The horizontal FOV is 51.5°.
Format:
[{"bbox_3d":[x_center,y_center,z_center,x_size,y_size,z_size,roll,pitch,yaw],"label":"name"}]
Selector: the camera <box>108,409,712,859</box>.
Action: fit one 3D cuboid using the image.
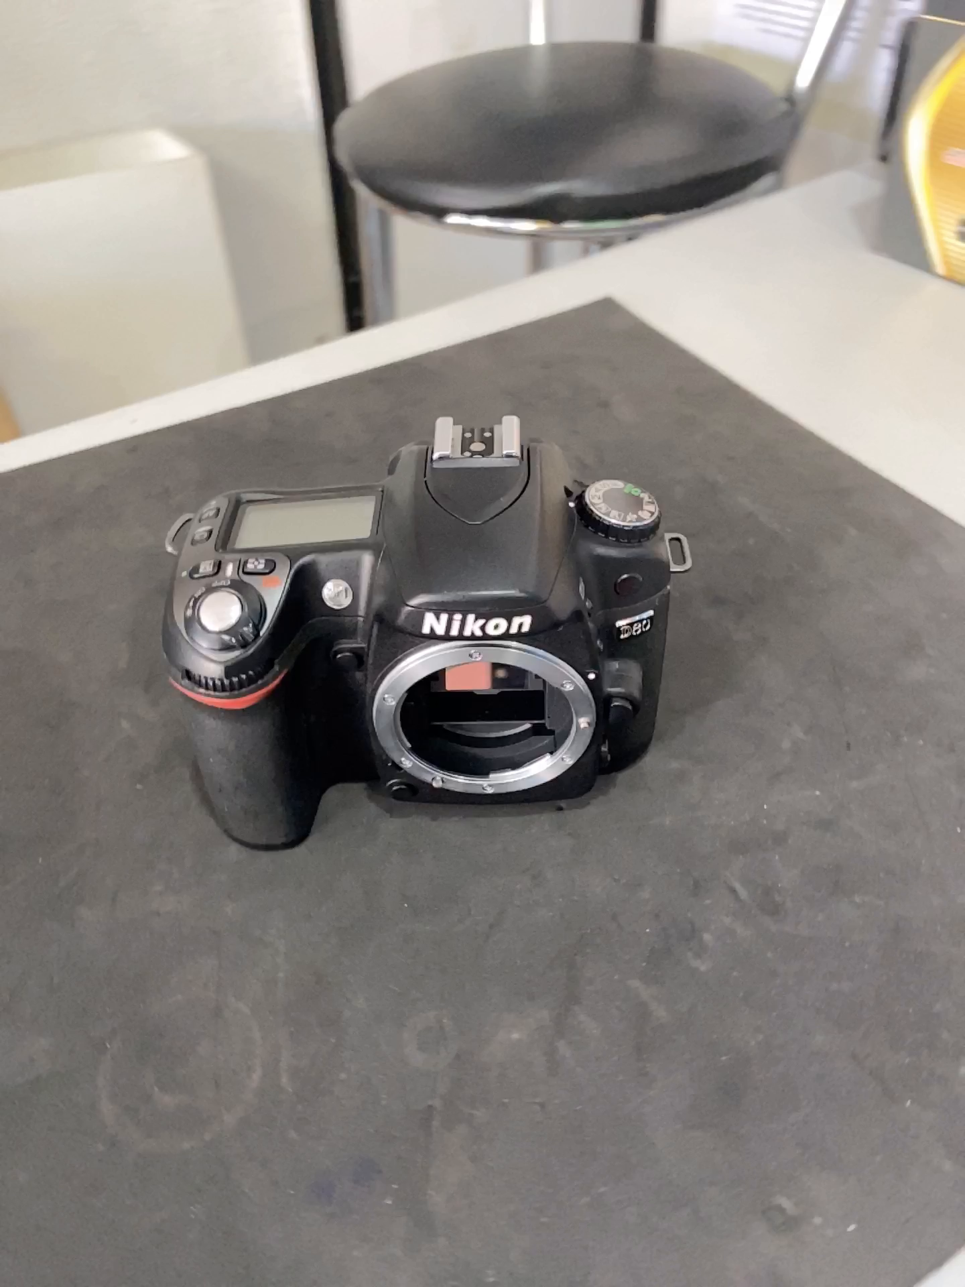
[{"bbox_3d":[-0.015,-0.003,0.284,0.135,0.088,0.084,-3,42,1],"label":"camera"}]
